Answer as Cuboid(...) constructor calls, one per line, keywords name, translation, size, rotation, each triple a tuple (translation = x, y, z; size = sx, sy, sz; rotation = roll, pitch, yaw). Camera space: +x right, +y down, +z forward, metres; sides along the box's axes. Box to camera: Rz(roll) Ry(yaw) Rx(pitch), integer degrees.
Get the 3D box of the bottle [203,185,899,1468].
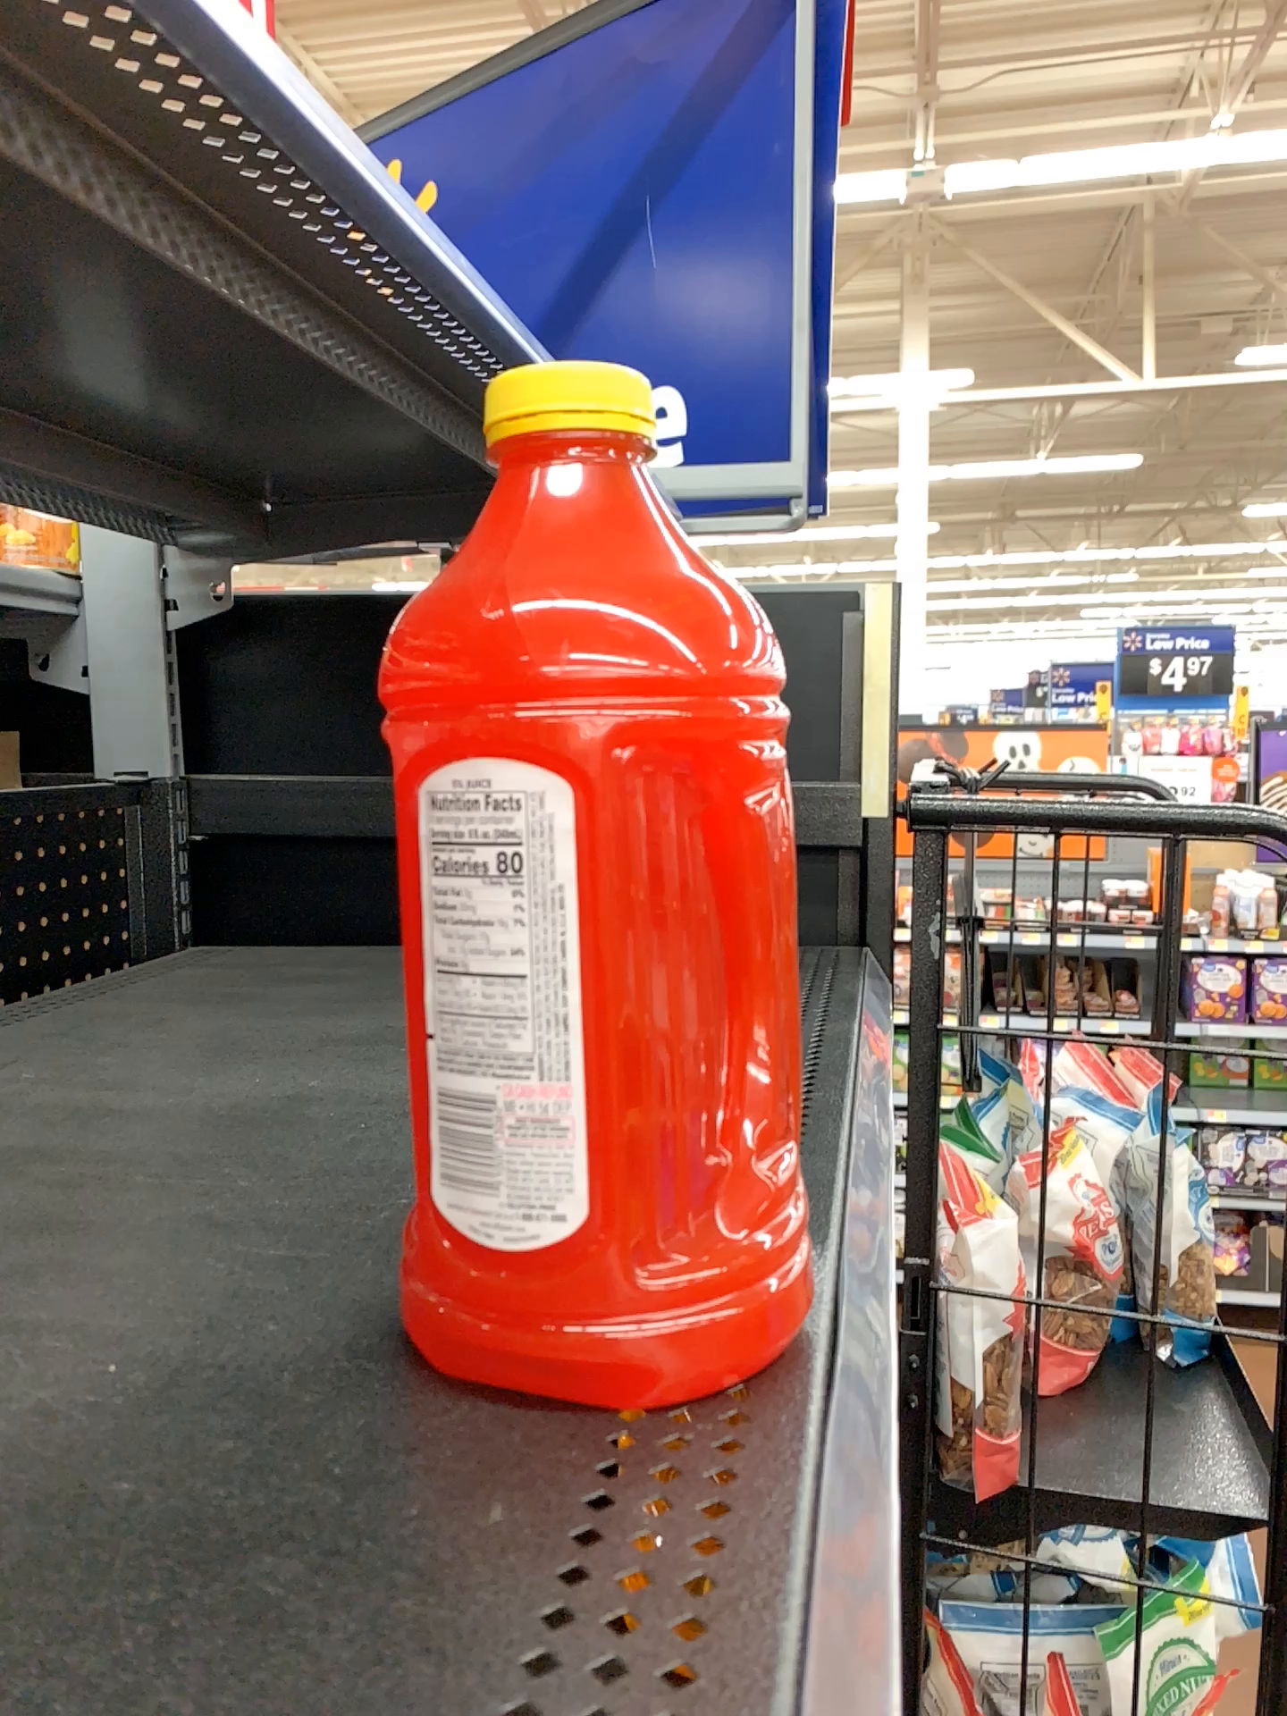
Cuboid(name="bottle", translation=(-0.017, -0.009, 0.356), size=(0.140, 0.265, 0.122), rotation=(2, 6, 25))
